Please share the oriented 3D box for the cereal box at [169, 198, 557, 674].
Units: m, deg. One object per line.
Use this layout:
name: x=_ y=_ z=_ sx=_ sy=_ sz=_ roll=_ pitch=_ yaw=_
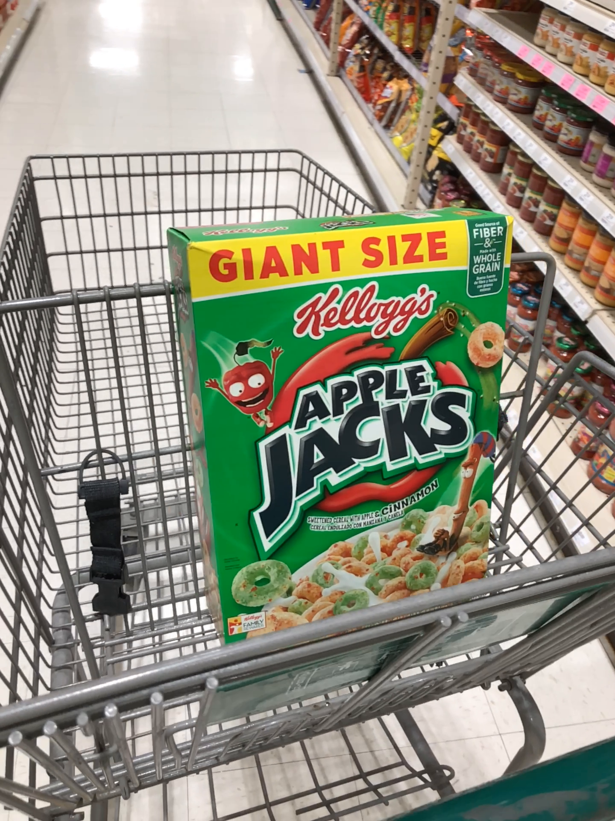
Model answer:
cereal box: x=0.043 y=0.014 z=0.524 sx=0.250 sy=0.319 sz=0.090 roll=-9 pitch=23 yaw=-17
